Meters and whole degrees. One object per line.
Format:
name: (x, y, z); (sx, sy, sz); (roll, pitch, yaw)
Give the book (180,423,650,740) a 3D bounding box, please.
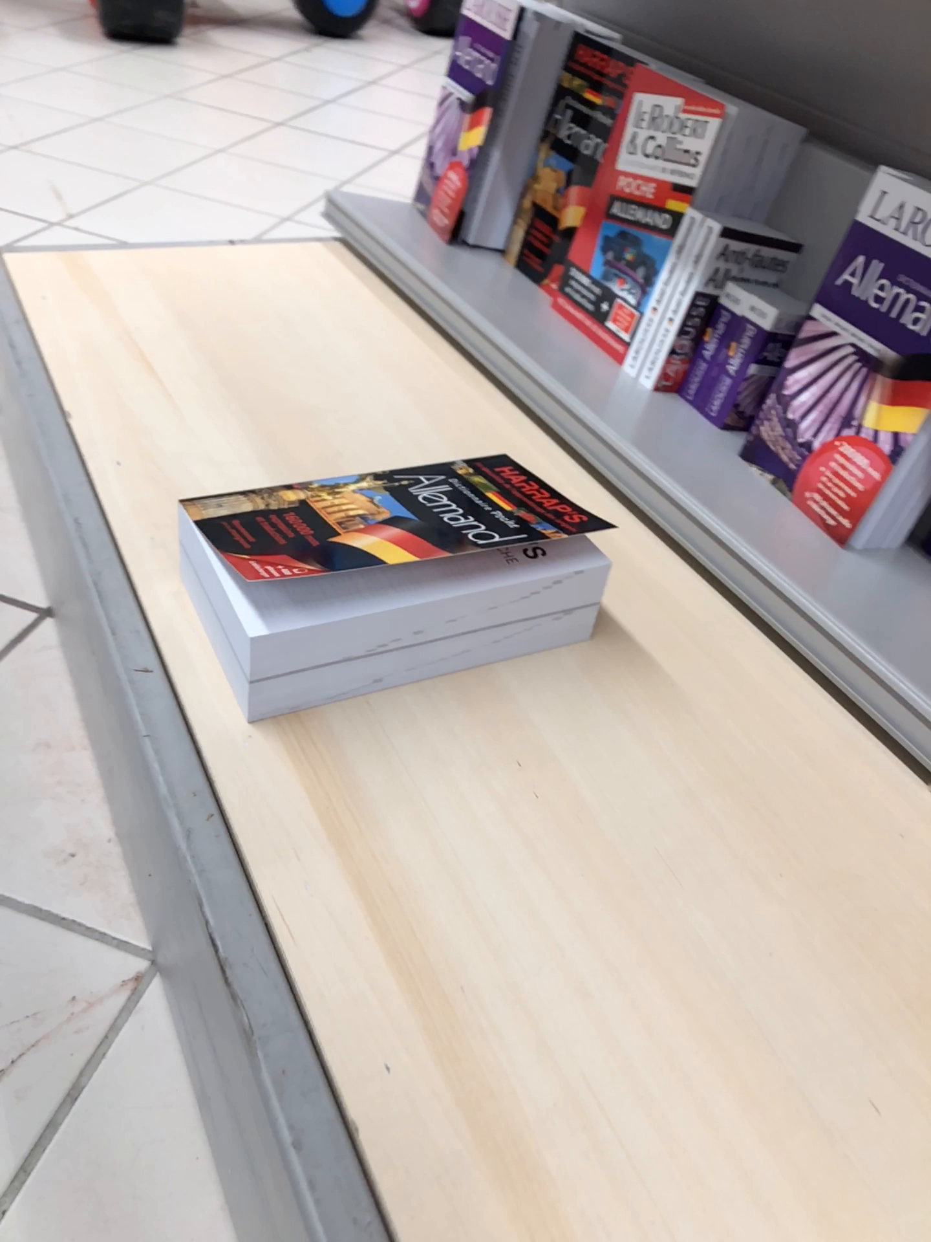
book: (-0.027, -0.028, 0.486); (0.181, 0.060, 0.122); (-12, 43, -27)
